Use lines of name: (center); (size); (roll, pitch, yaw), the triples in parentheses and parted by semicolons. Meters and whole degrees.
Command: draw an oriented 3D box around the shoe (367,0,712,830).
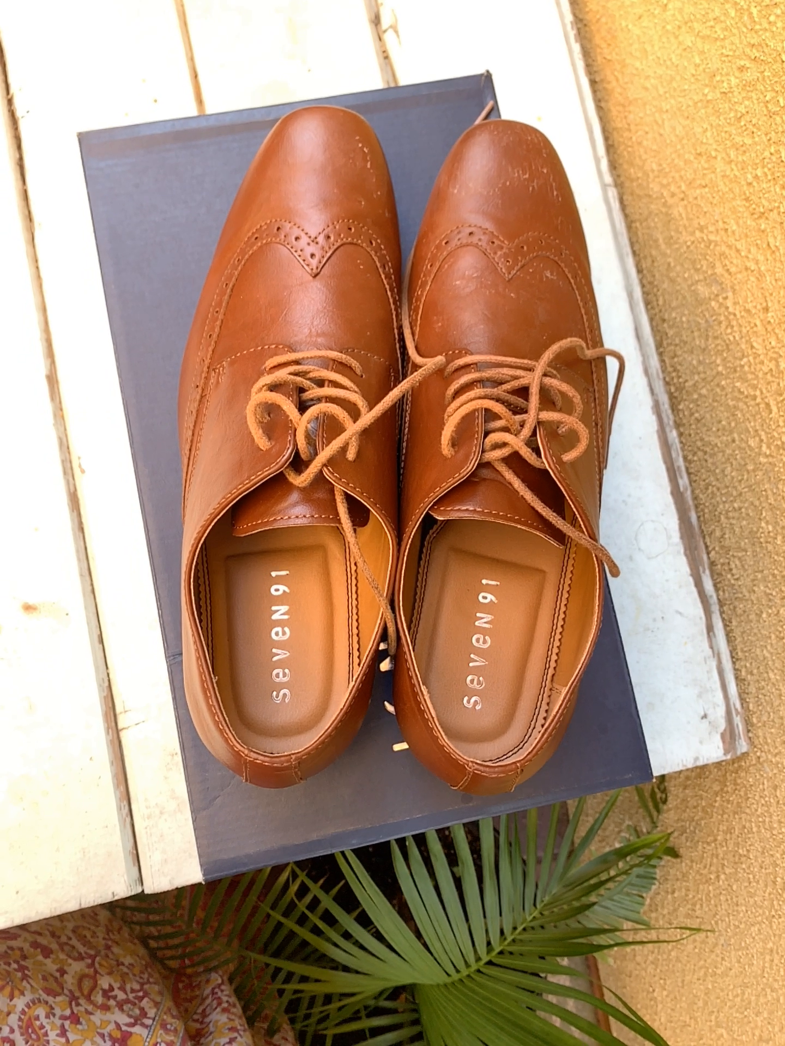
shoe: (0.056, -0.042, 0.342); (0.110, 0.100, 0.300); (4, 83, -3)

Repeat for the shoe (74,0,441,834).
shoe: (-0.046, -0.043, 0.336); (0.104, 0.100, 0.300); (4, 83, -3)
